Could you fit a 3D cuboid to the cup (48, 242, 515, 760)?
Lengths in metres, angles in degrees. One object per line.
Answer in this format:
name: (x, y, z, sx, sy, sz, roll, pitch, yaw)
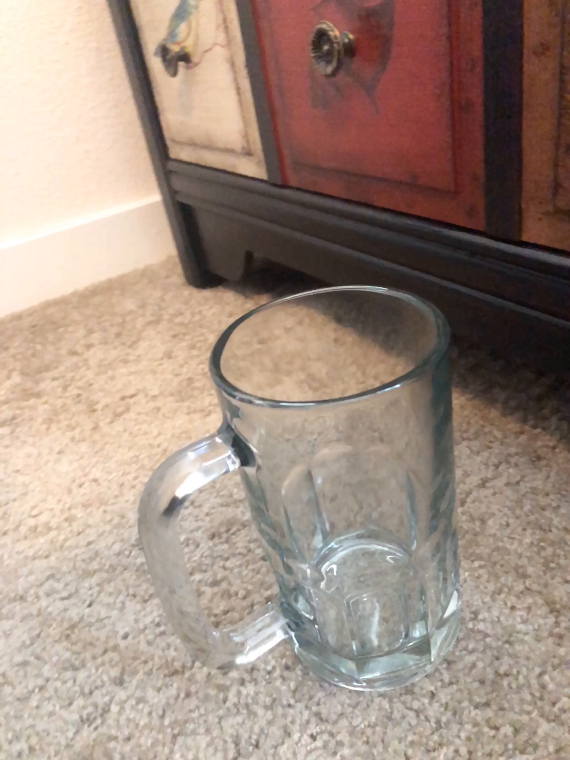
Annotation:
cup: (0.006, 0.048, 0.262, 0.133, 0.155, 0.097, -25, 35, -24)
